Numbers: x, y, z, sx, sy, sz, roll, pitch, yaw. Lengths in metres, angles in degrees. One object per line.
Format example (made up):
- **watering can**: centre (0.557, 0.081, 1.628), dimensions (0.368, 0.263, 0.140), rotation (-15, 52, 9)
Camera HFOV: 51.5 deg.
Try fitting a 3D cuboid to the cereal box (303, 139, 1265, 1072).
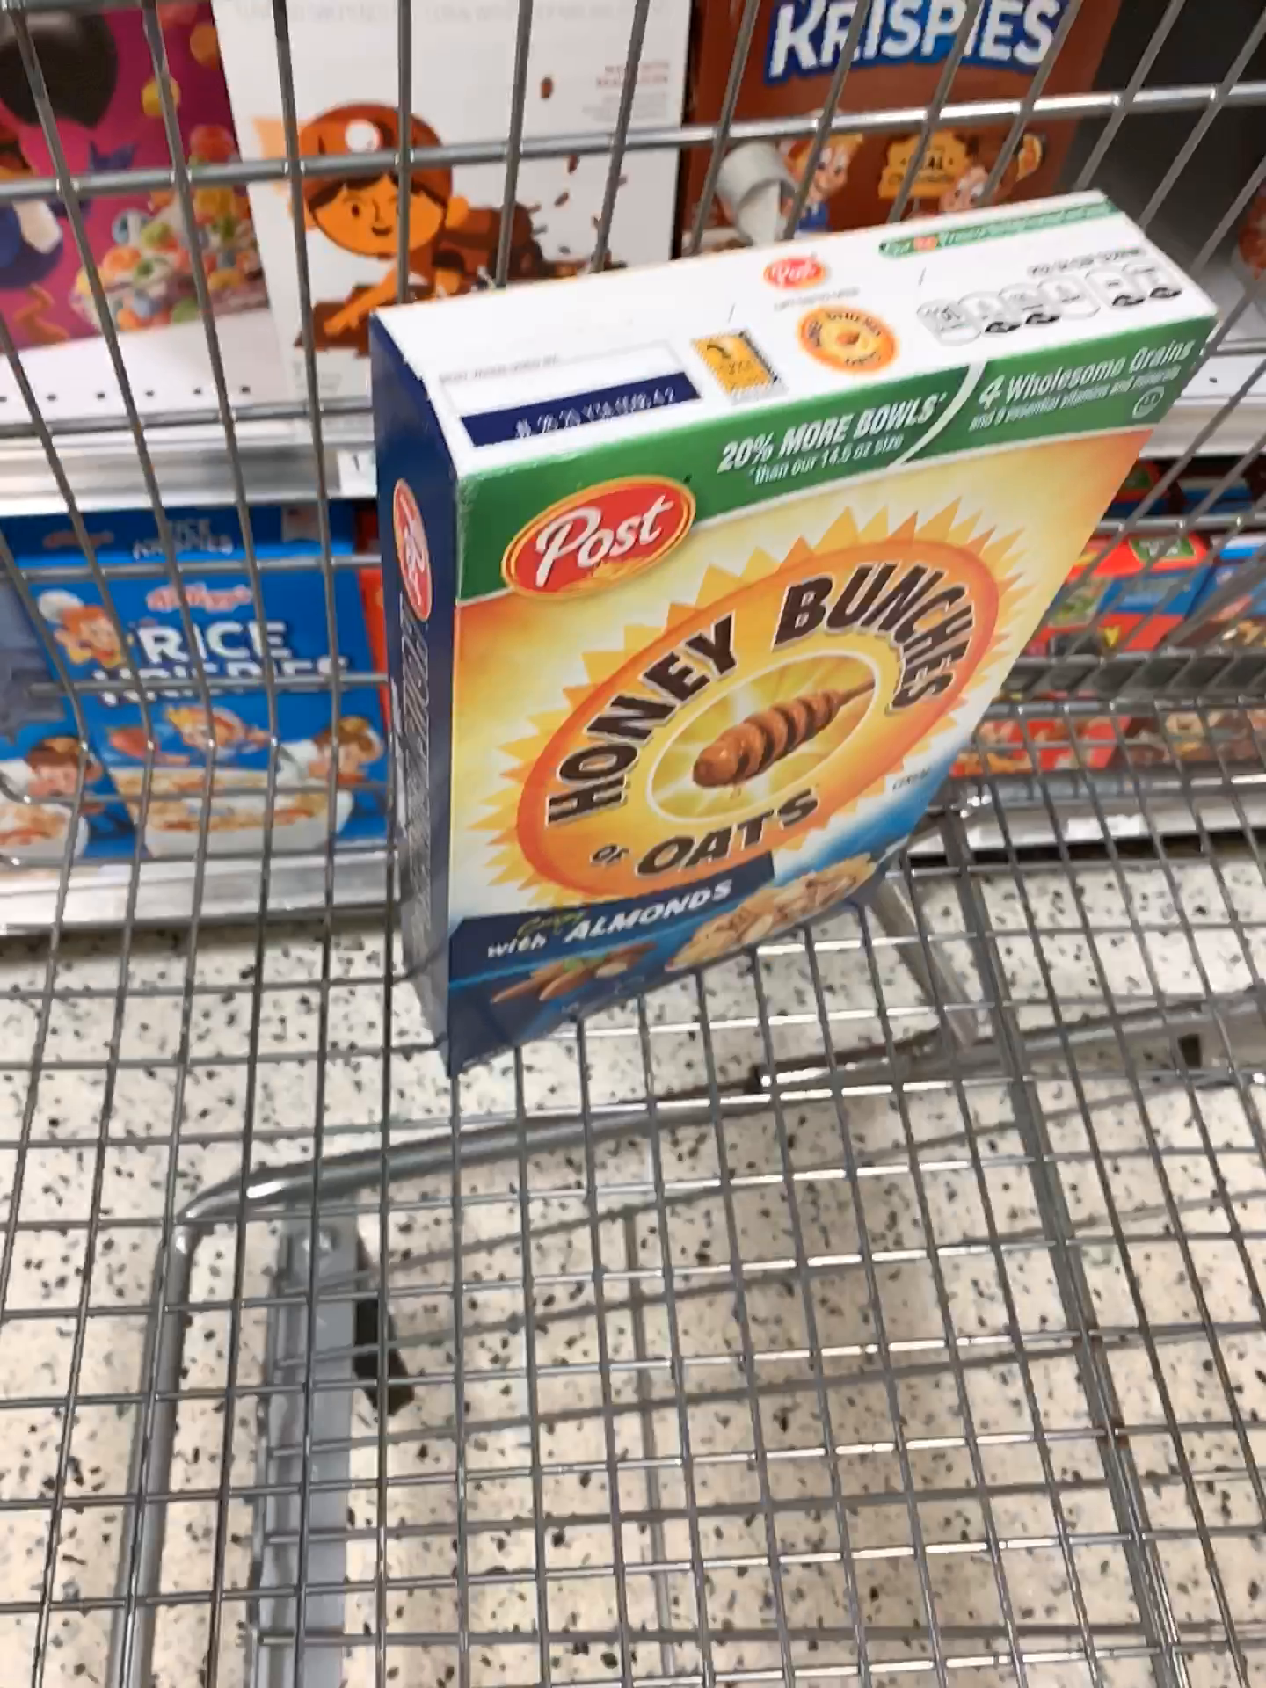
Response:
- **cereal box**: centre (0.025, -0.044, 0.415), dimensions (0.210, 0.308, 0.060), rotation (-18, 64, -16)
